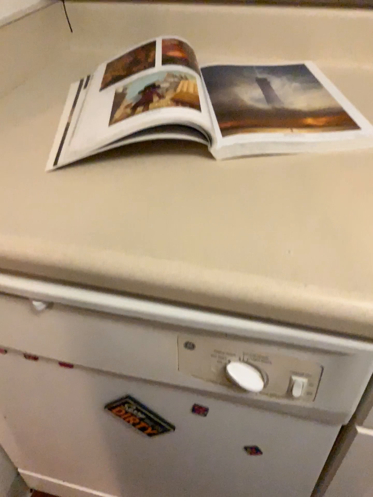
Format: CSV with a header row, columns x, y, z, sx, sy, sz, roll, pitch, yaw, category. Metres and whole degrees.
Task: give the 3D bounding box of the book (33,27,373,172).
x,y,z,sx,sy,sz,roll,pitch,yaw,category
0.034,-0.245,0.636,0.450,0.070,0.320,-4,42,-2,book
